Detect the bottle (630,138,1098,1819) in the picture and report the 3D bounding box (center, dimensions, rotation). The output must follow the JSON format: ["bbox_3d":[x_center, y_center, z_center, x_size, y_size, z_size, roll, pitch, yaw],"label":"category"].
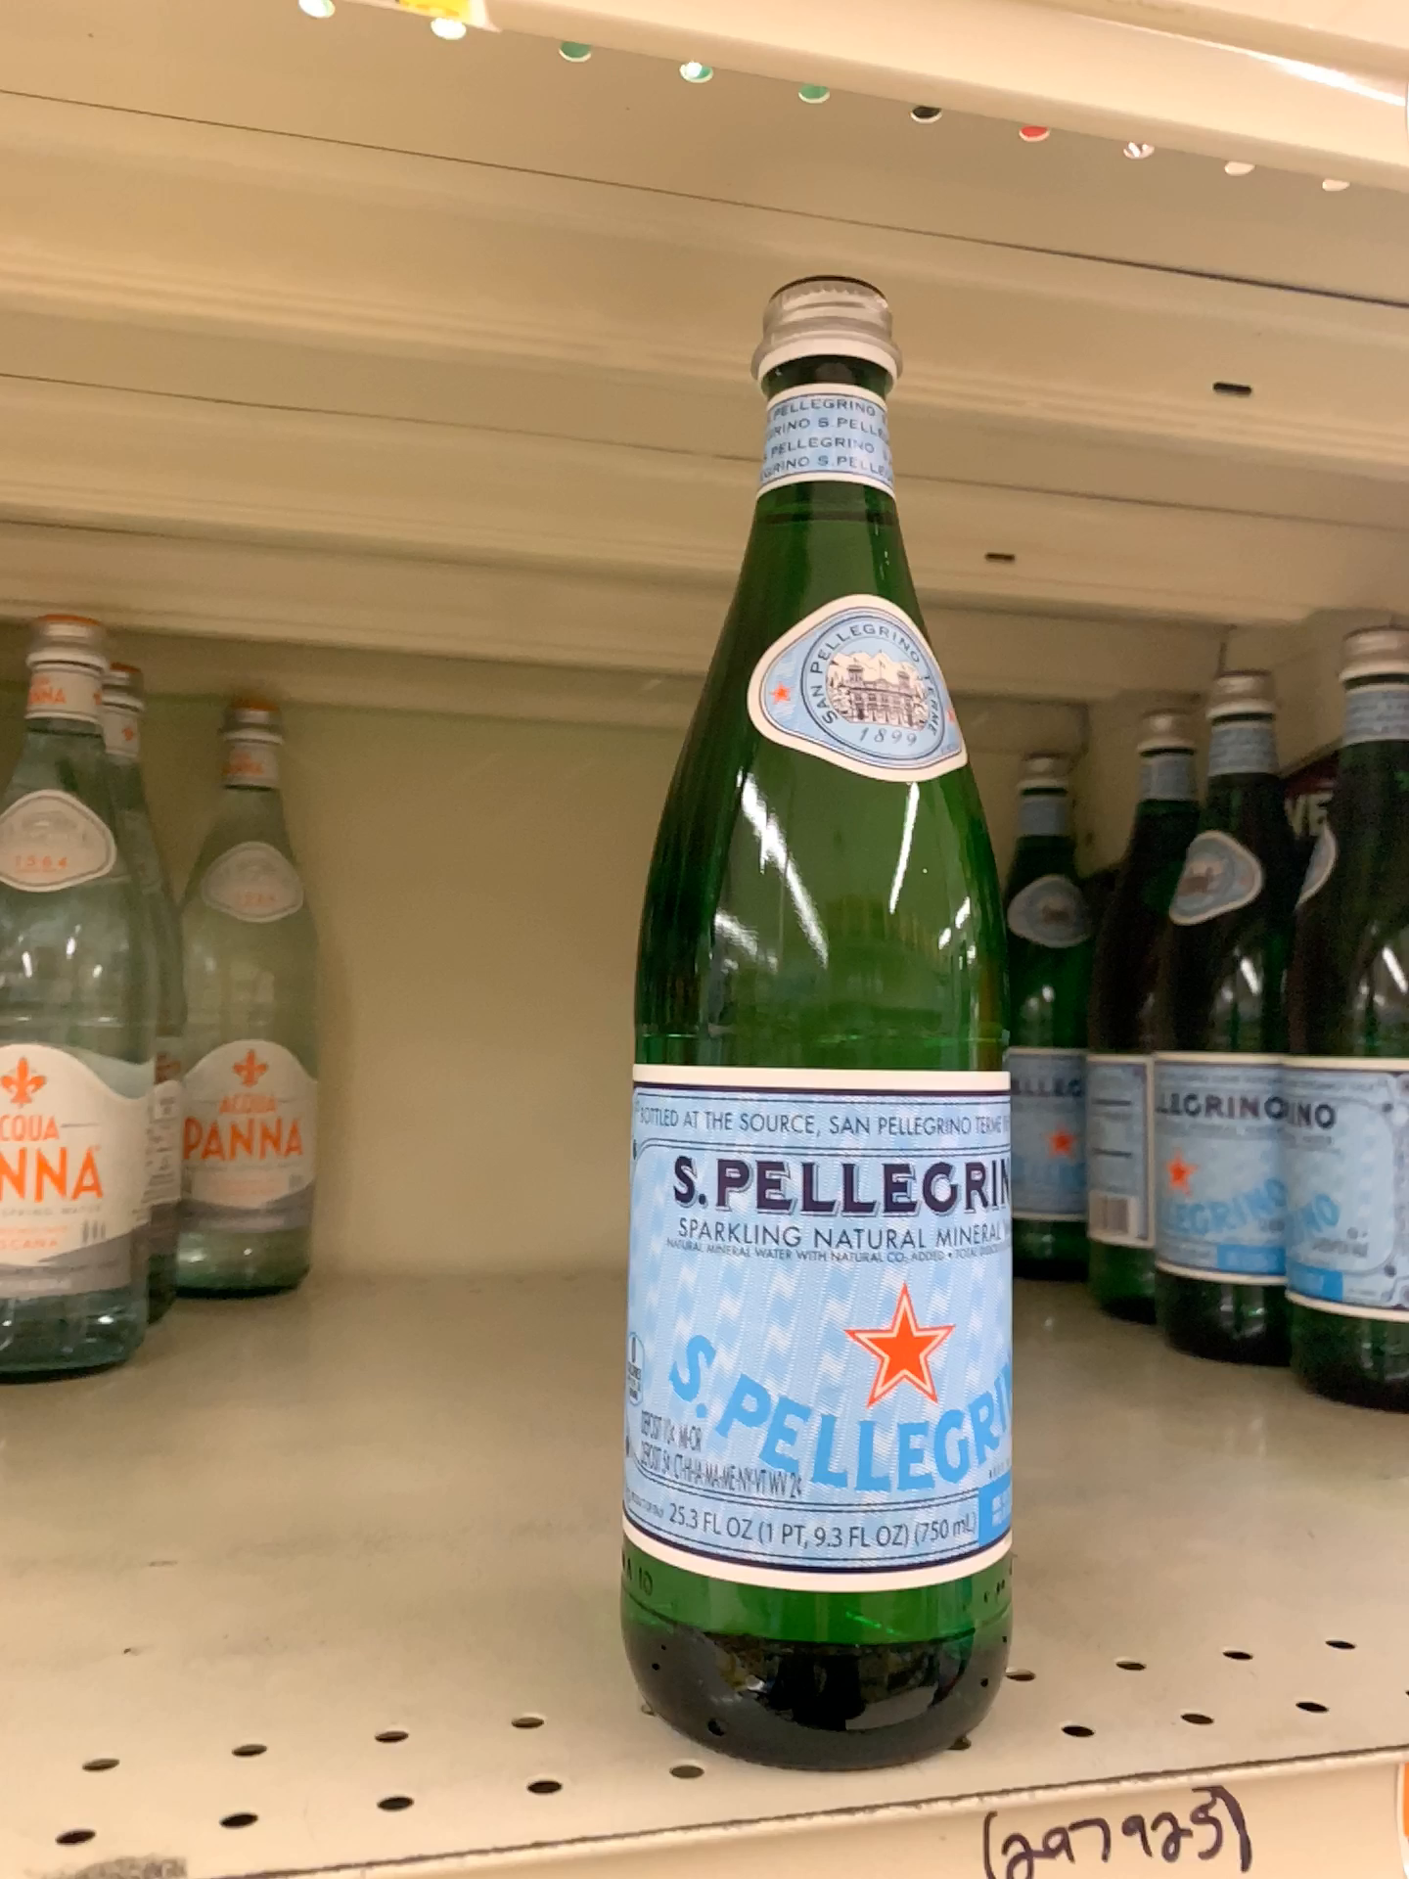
[{"bbox_3d":[0.030,0.005,0.298,0.078,0.302,0.065,2,-3,-7],"label":"bottle"}]
